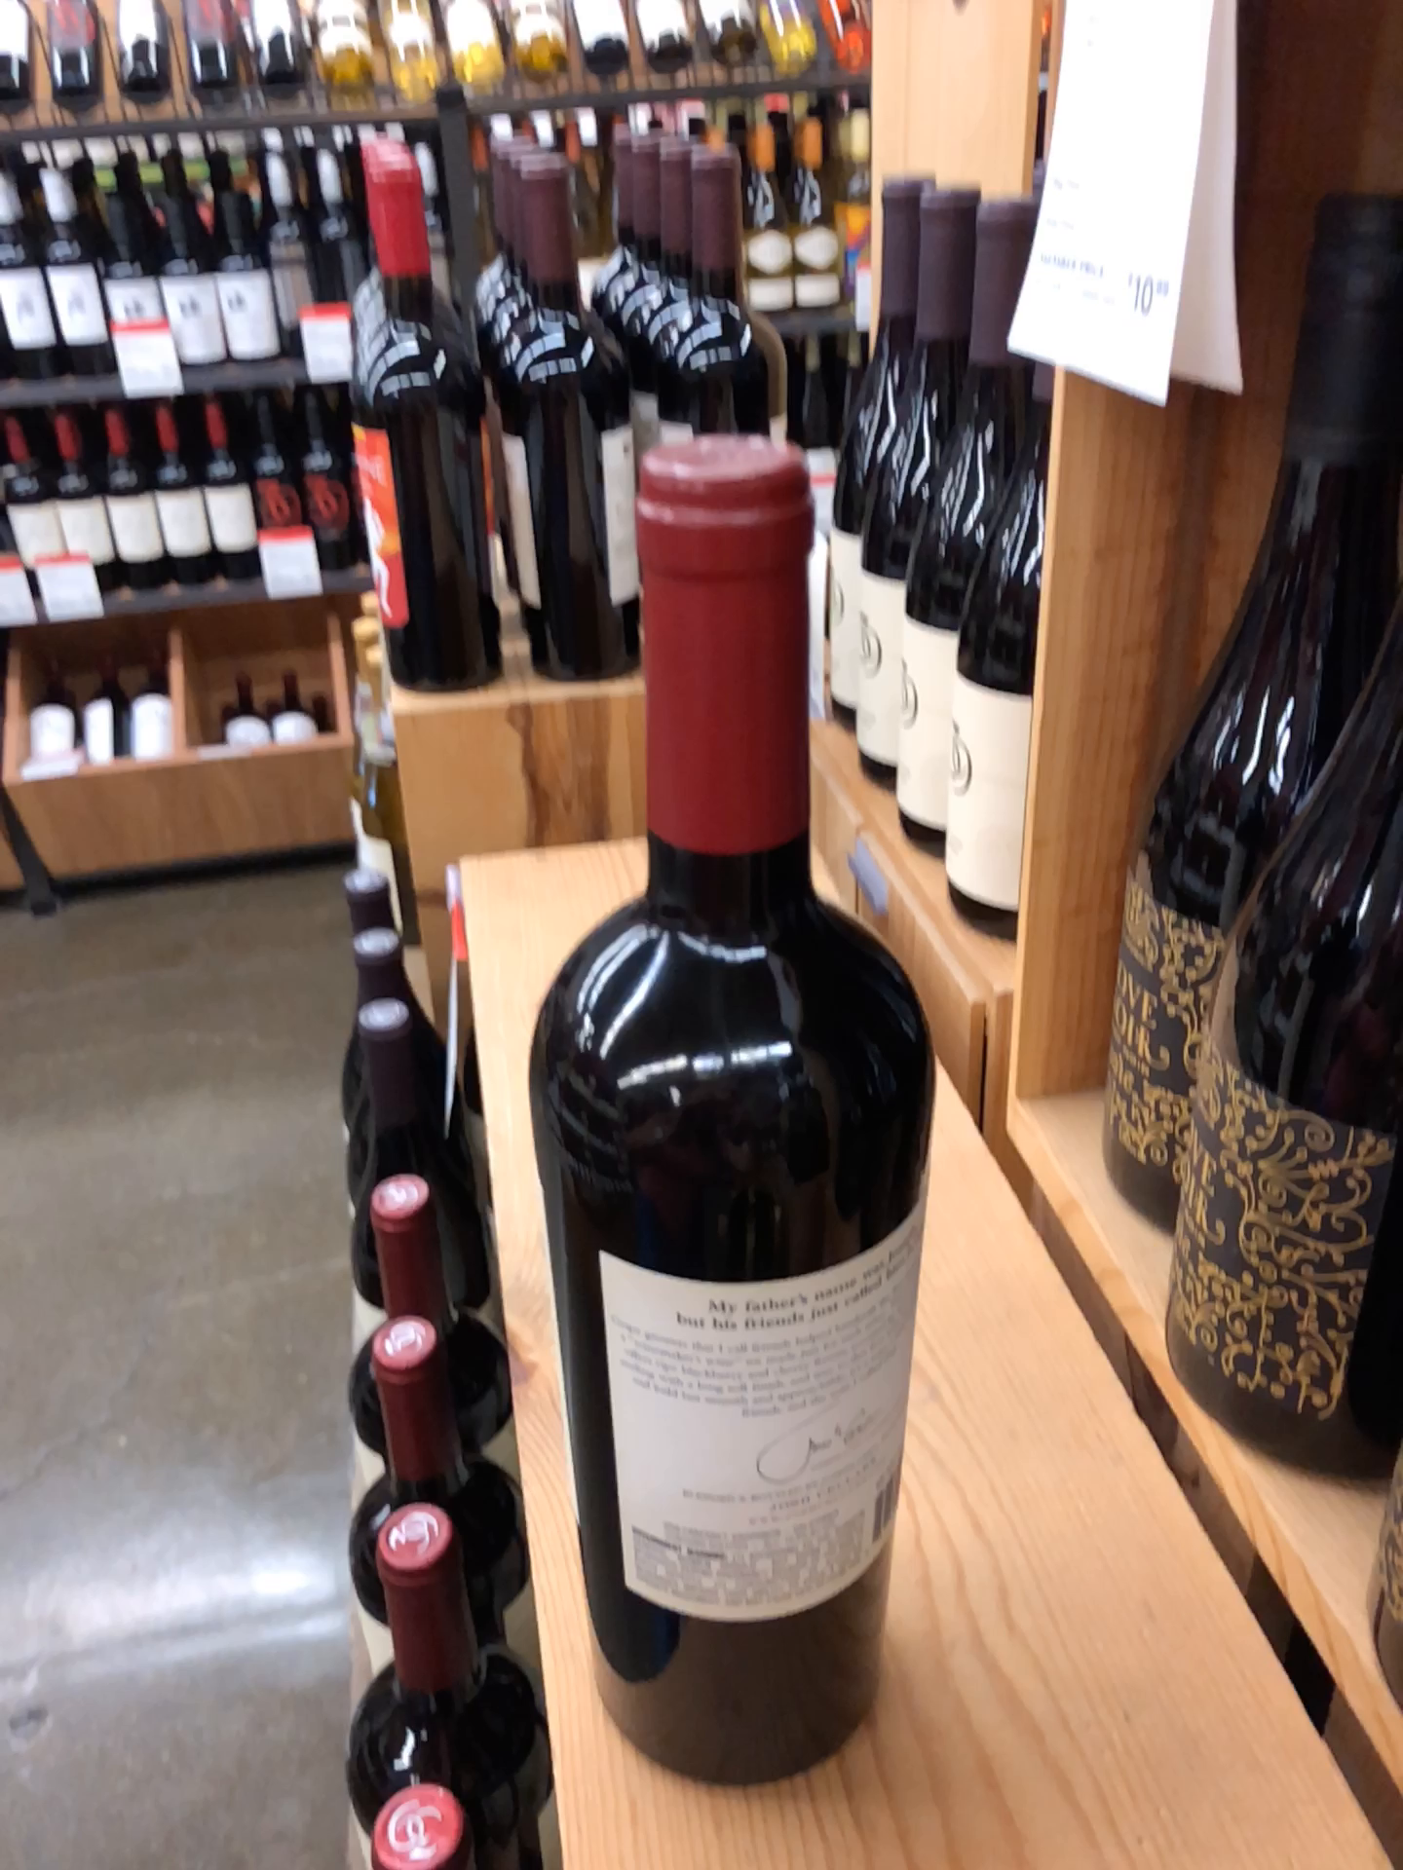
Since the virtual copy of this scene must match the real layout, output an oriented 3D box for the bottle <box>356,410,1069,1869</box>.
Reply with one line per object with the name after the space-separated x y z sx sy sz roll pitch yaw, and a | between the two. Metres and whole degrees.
0.007 0.056 0.317 0.080 0.293 0.081 -2 29 1 | bottle
